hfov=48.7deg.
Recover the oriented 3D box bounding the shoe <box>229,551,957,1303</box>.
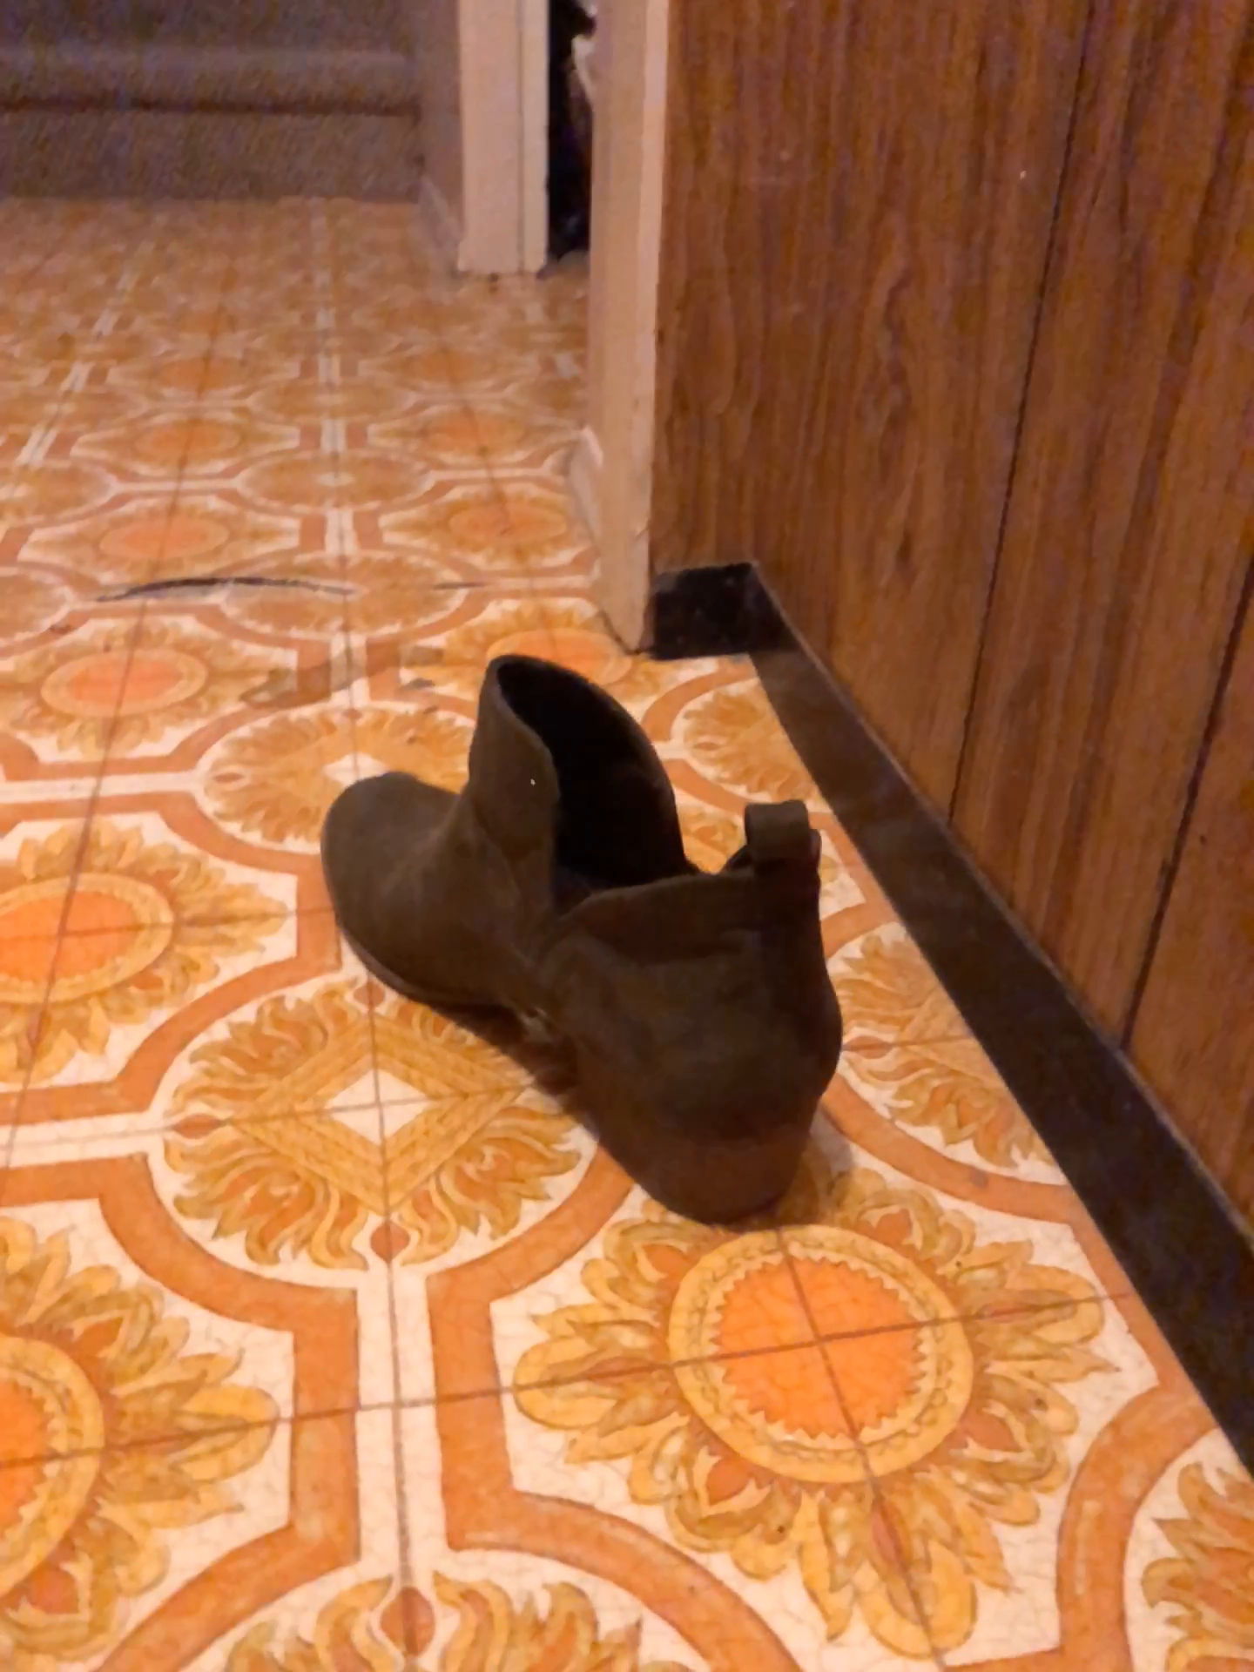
[{"bbox_3d":[-0.028,0.011,0.467,0.080,0.129,0.261,-23,39,-35],"label":"shoe"}]
